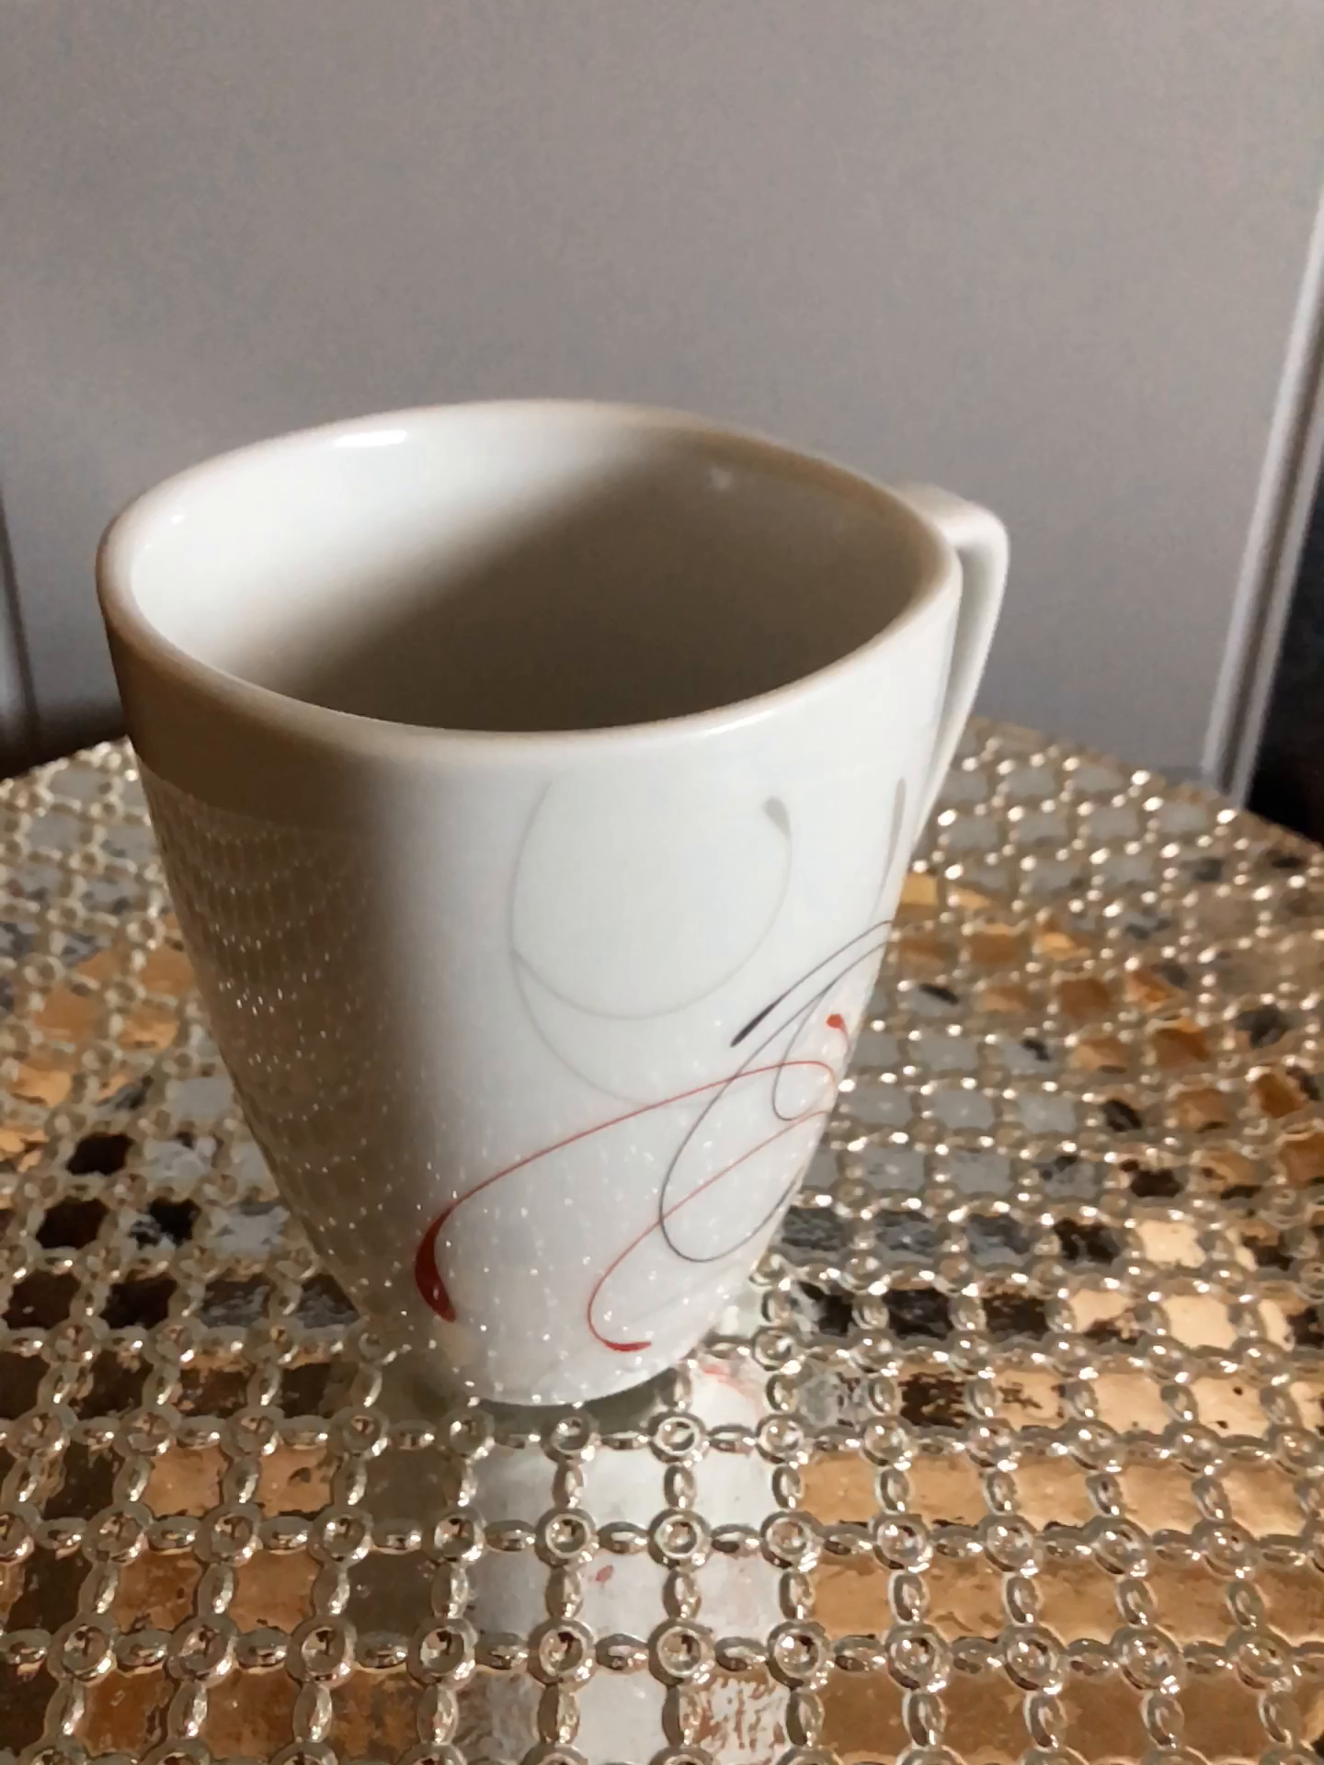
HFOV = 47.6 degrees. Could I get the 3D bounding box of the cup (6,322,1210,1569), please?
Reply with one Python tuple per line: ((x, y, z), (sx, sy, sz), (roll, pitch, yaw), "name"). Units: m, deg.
((-0.002, -0.003, 0.194), (0.080, 0.099, 0.110), (27, 42, 31), "cup")
